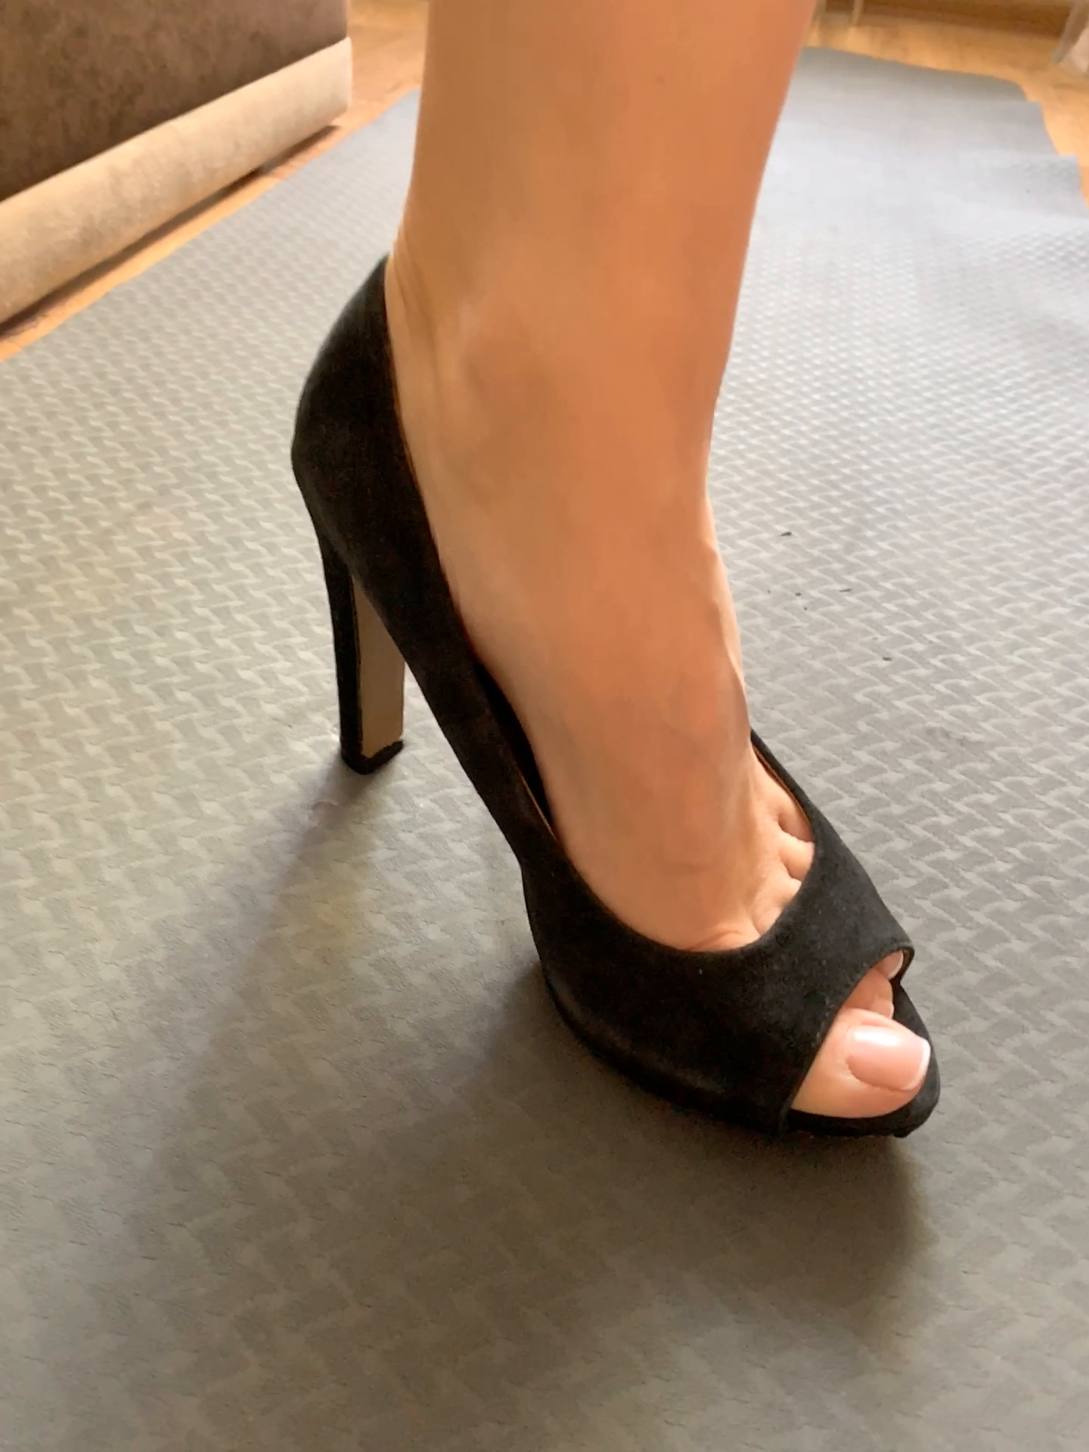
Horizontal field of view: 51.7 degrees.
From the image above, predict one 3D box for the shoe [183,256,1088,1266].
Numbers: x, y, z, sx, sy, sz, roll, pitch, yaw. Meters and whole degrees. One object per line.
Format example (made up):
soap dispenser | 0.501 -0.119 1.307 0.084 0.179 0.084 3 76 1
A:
shoe | 0.018 -0.006 0.278 0.211 0.139 0.090 34 48 30
